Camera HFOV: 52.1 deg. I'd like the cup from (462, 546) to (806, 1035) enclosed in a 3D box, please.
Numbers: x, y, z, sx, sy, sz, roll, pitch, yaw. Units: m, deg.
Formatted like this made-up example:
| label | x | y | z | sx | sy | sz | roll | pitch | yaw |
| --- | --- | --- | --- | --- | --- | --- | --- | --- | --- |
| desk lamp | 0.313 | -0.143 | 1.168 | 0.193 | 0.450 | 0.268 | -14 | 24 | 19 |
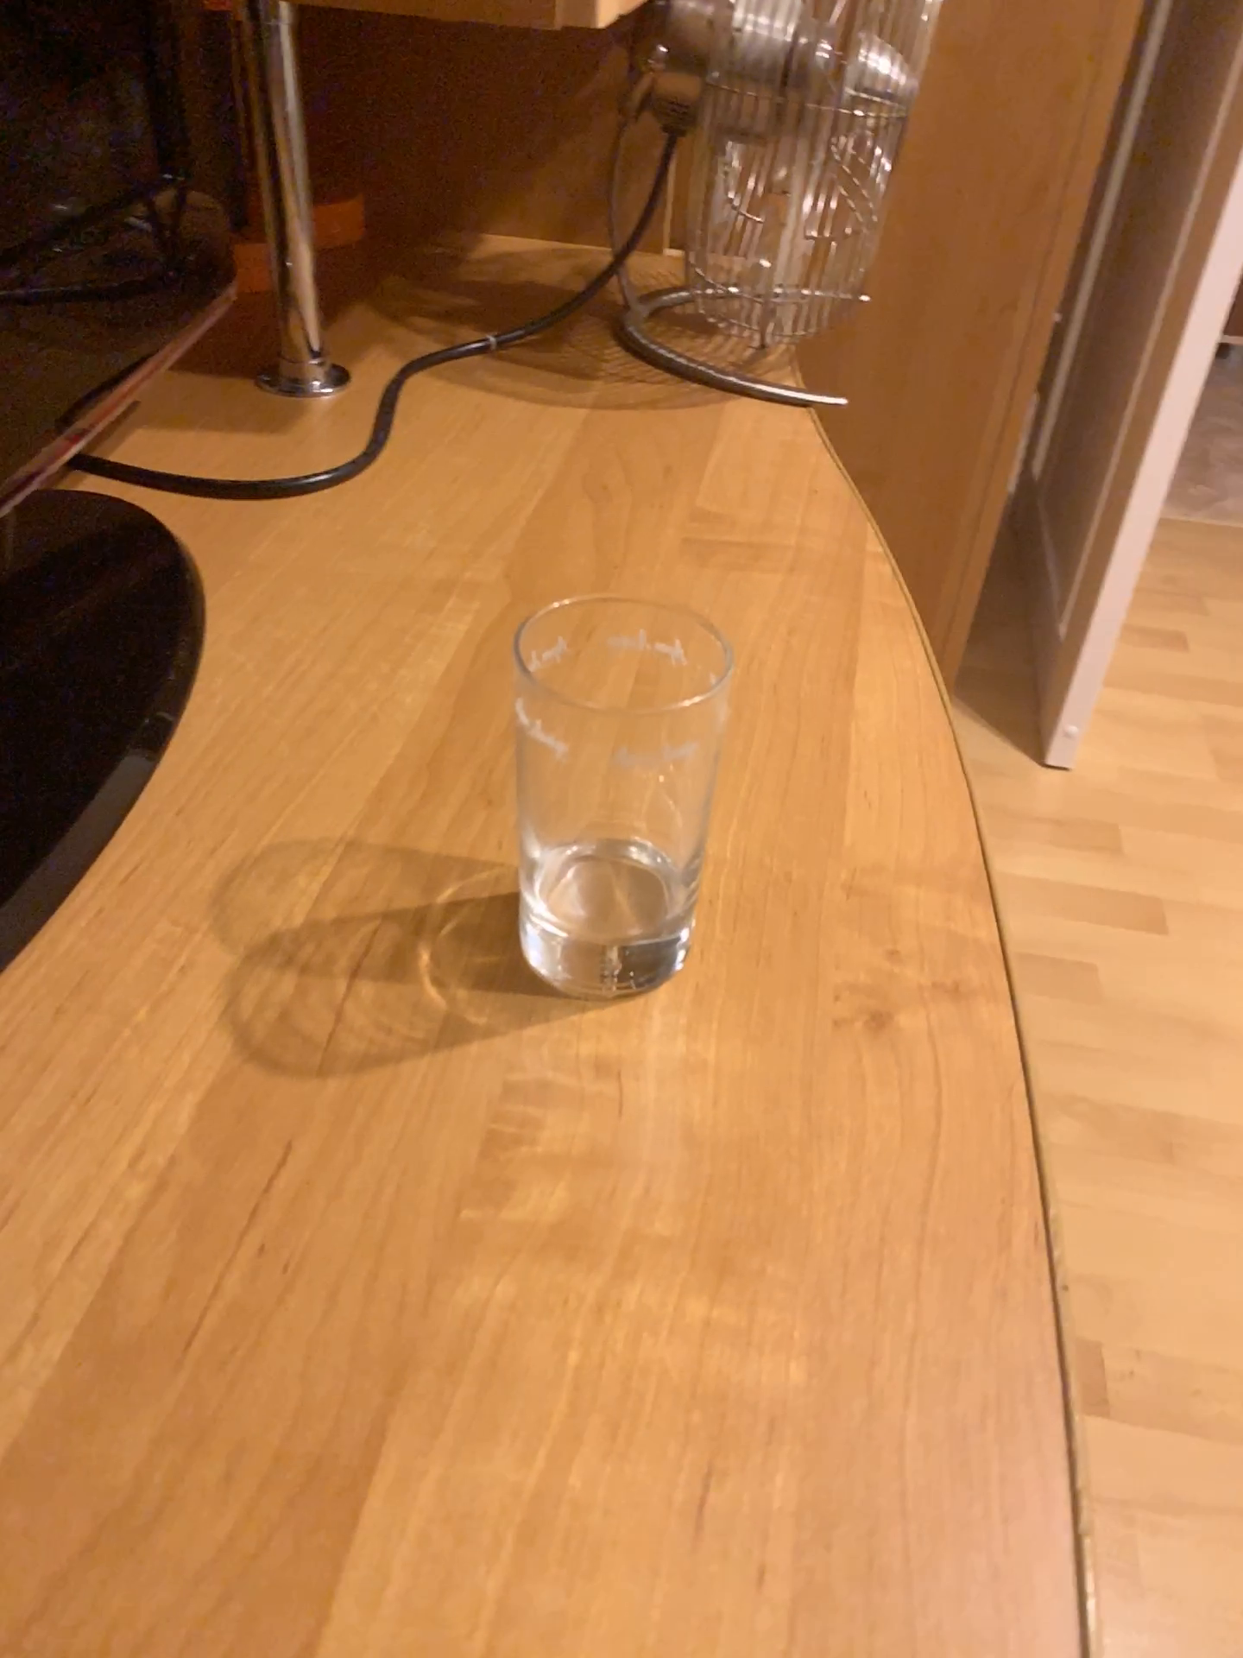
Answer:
| label | x | y | z | sx | sy | sz | roll | pitch | yaw |
| --- | --- | --- | --- | --- | --- | --- | --- | --- | --- |
| cup | -0.001 | -0.010 | 0.332 | 0.060 | 0.099 | 0.060 | 3 | 39 | -2 |
